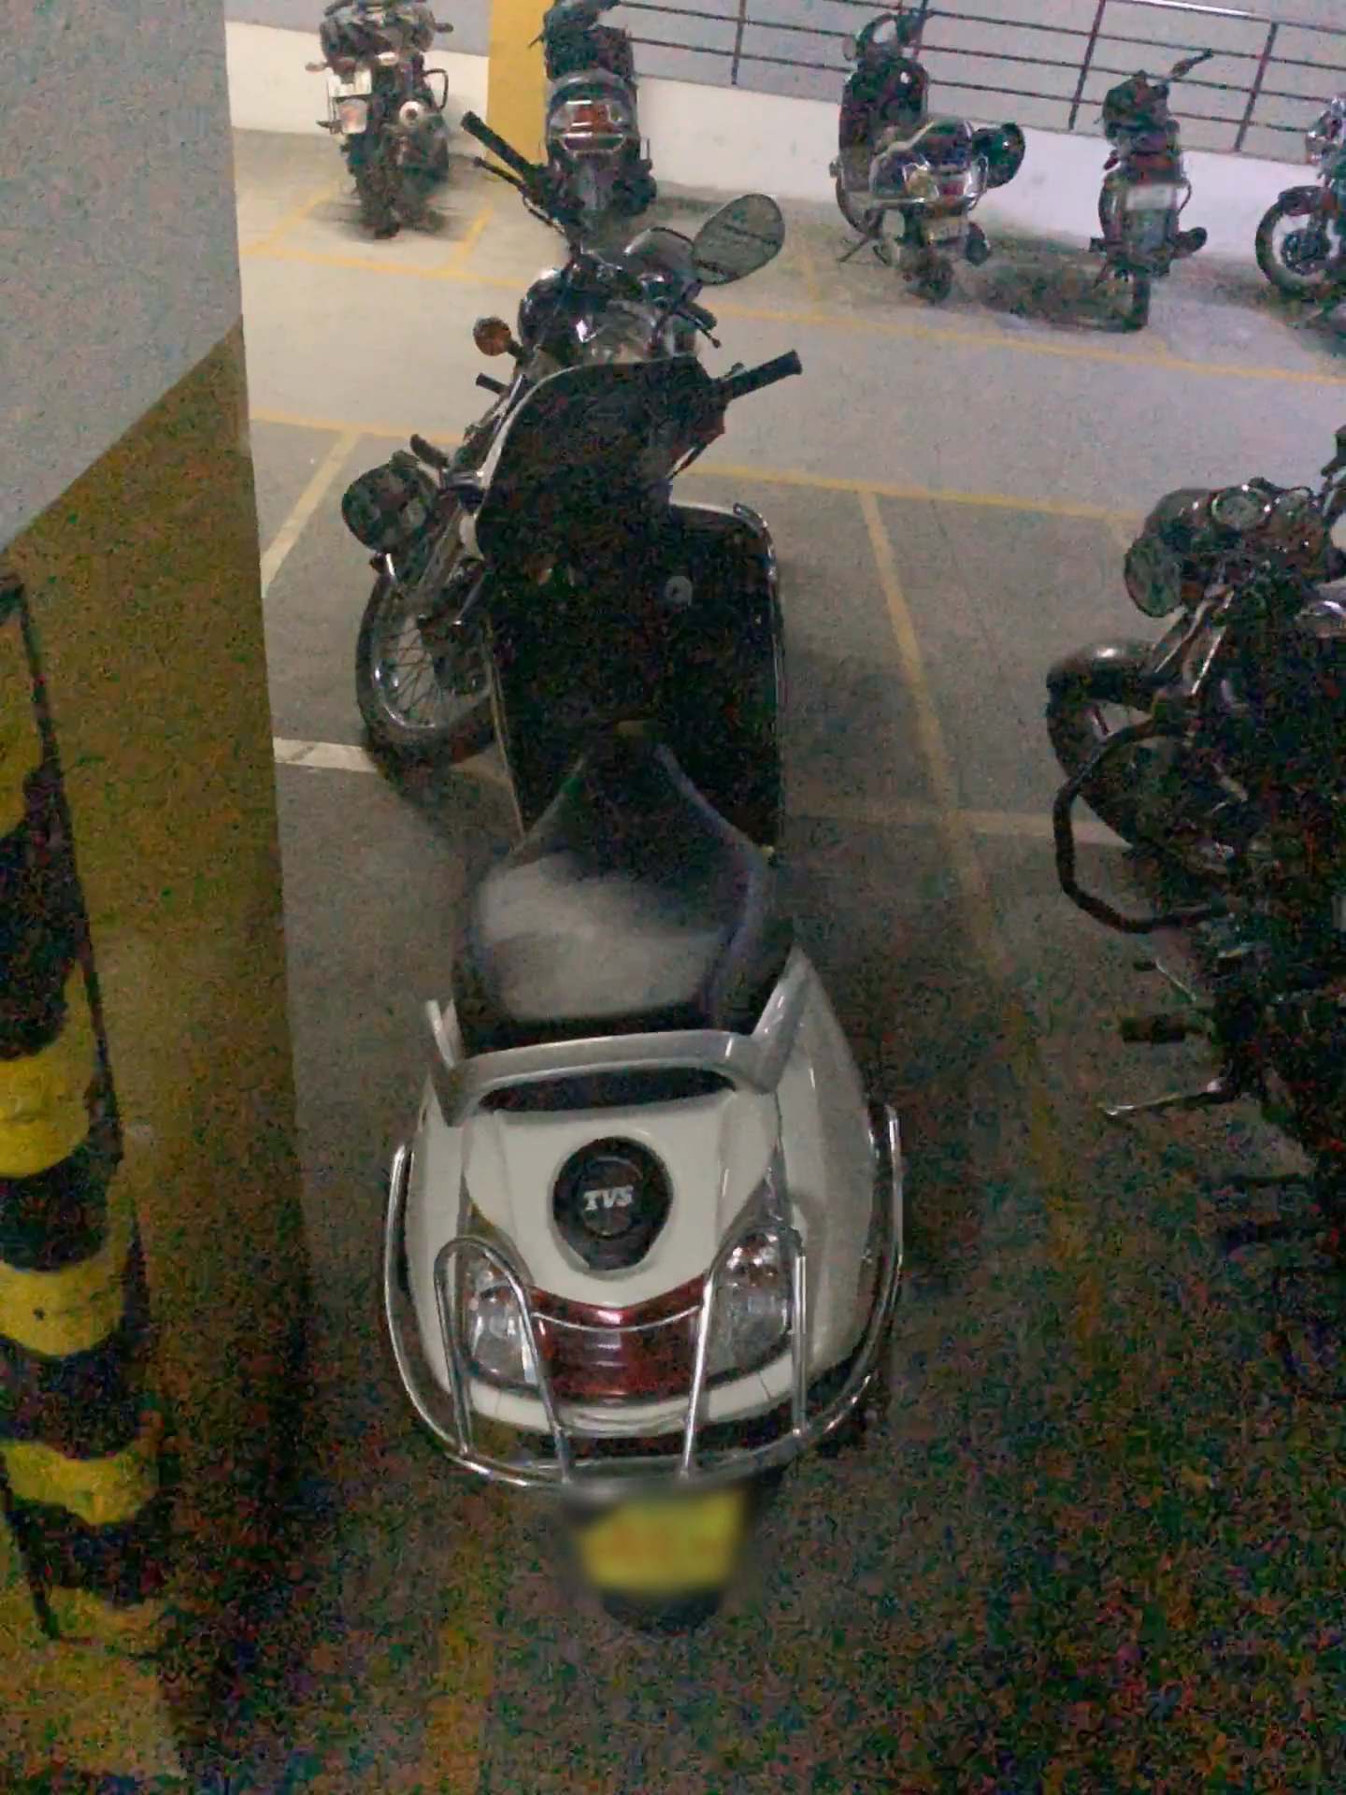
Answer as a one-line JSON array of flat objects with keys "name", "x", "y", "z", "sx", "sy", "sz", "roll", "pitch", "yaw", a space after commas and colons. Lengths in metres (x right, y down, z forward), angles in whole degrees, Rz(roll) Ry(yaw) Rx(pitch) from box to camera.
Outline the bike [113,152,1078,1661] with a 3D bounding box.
[{"name": "bike", "x": -0.131, "y": -0.102, "z": 1.826, "sx": 0.647, "sy": 1.159, "sz": 1.539, "roll": 4, "pitch": 40, "yaw": -5}]
